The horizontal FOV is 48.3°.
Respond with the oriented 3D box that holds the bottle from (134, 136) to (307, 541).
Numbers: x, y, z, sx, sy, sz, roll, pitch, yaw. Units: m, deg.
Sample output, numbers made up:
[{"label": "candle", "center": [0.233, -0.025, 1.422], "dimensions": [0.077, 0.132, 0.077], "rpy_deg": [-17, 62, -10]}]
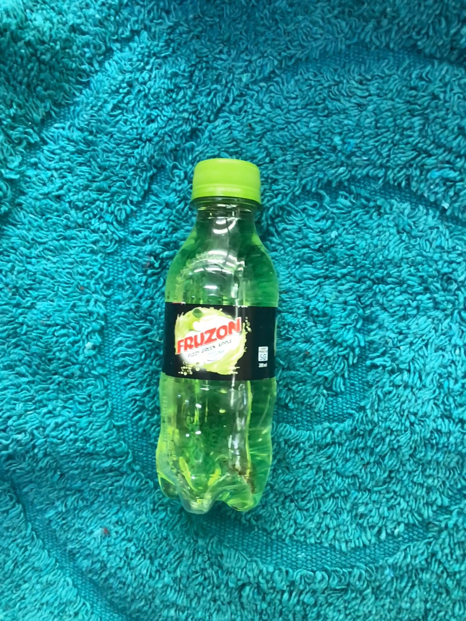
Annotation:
[{"label": "bottle", "center": [-0.003, 0.010, 0.235], "dimensions": [0.060, 0.050, 0.160], "rpy_deg": [4, 93, 13]}]
